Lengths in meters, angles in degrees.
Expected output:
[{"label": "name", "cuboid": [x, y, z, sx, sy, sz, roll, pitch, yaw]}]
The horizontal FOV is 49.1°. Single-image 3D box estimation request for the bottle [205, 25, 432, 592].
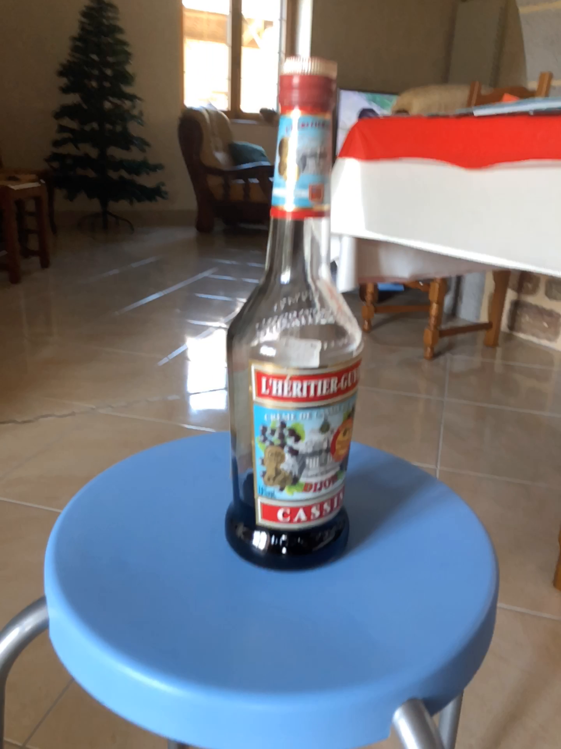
[{"label": "bottle", "cuboid": [0.010, -0.030, 0.373, 0.090, 0.299, 0.090, 2, 19, -1]}]
